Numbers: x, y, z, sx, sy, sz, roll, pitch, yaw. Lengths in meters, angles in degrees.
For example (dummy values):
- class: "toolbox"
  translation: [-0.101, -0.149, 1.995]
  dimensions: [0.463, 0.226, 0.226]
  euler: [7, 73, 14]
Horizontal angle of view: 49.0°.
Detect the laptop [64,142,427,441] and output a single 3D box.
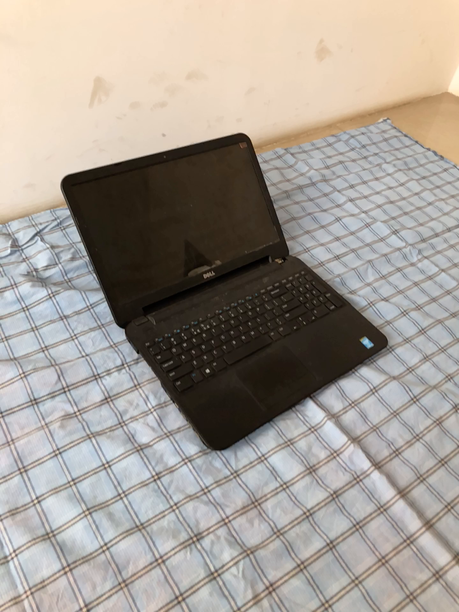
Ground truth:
- class: "laptop"
  translation: [0.007, -0.065, 0.798]
  dimensions: [0.356, 0.163, 0.414]
  euler: [-24, 52, -31]
